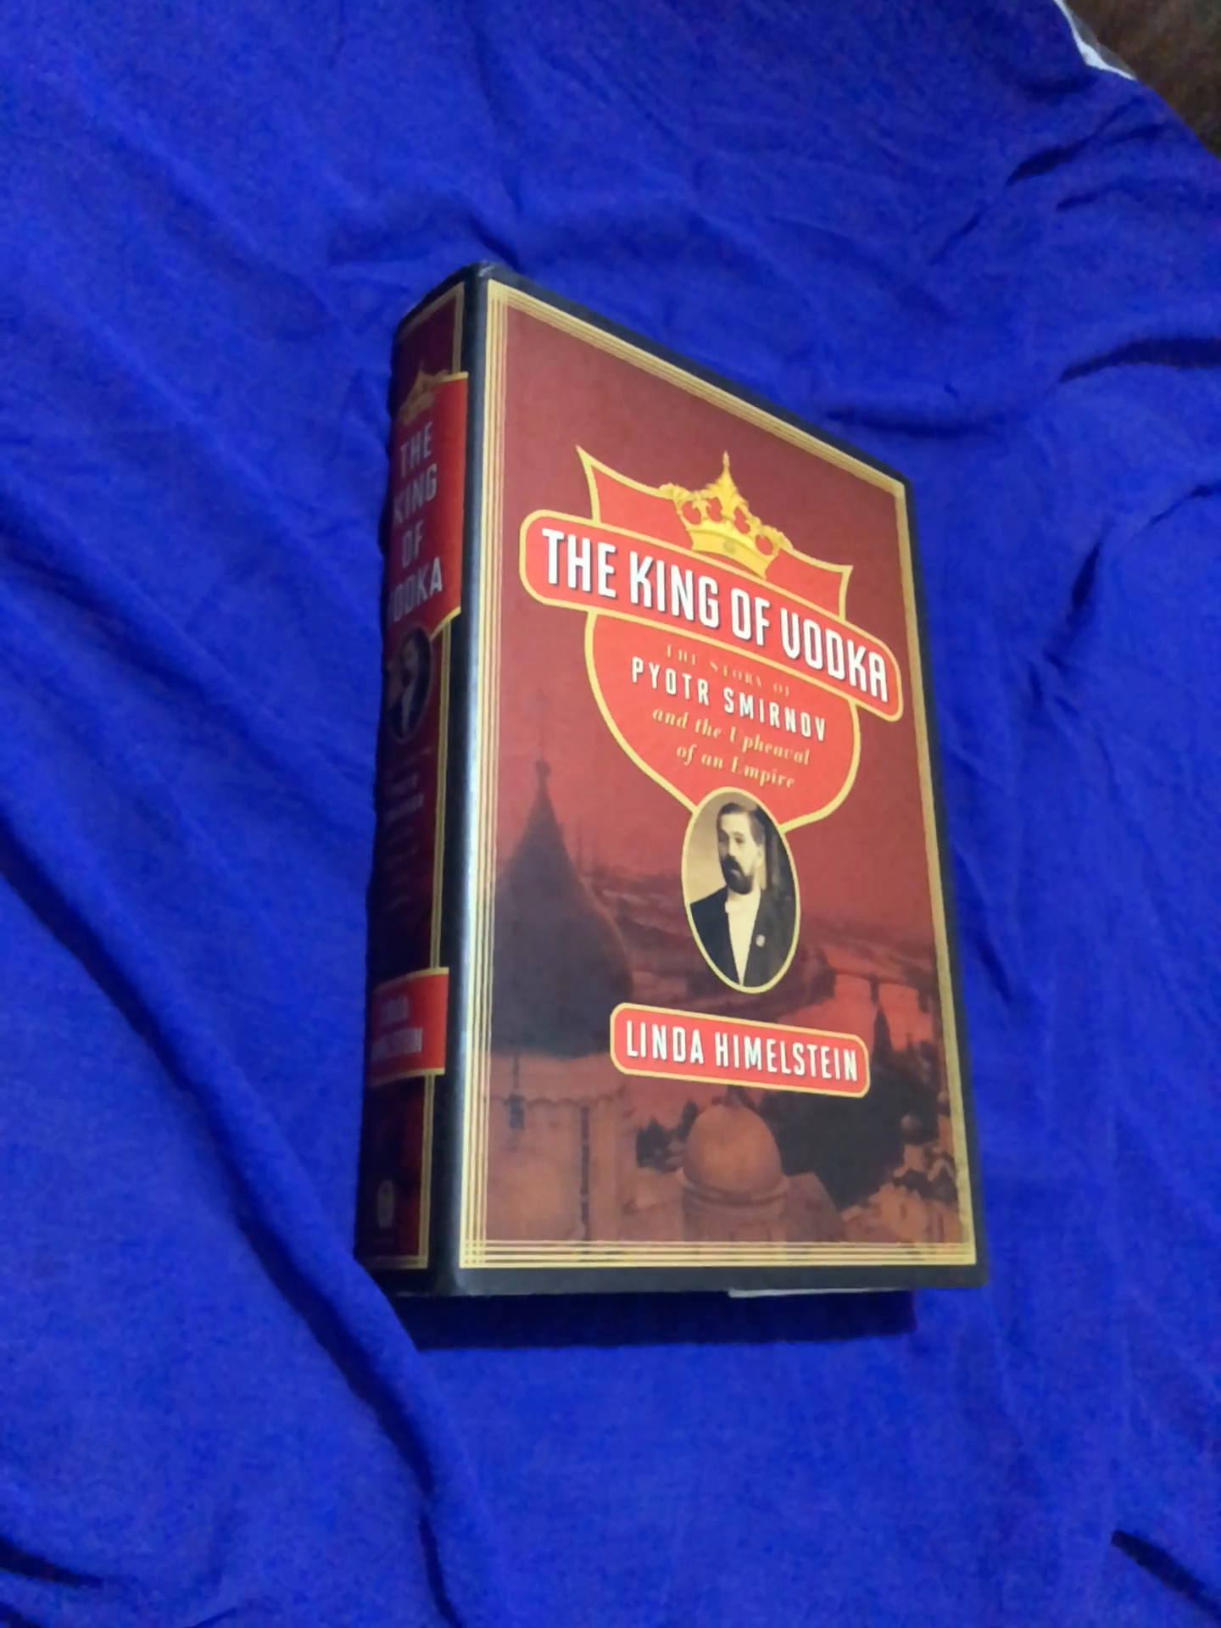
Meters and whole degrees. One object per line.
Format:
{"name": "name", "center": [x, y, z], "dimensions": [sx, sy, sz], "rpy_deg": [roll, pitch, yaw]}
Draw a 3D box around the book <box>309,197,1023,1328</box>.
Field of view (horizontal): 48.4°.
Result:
{"name": "book", "center": [0.016, -0.006, 0.350], "dimensions": [0.171, 0.050, 0.250], "rpy_deg": [12, 66, -36]}
